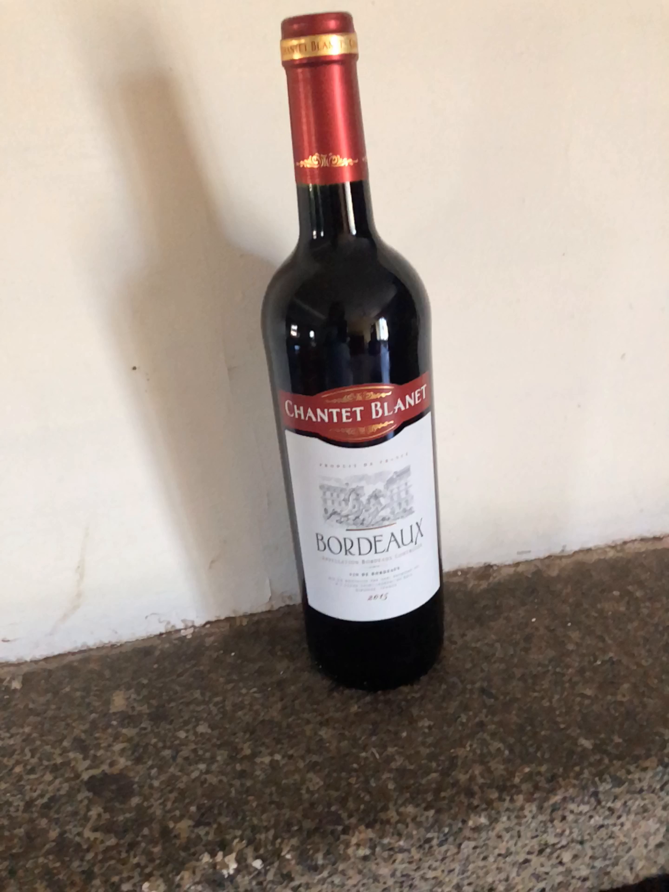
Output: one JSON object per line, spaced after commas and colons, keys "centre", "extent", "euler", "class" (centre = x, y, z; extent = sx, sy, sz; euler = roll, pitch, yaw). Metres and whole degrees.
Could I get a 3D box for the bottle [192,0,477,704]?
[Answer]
{"centre": [0.005, -0.032, 0.329], "extent": [0.080, 0.288, 0.080], "euler": [-6, 25, 3], "class": "bottle"}
